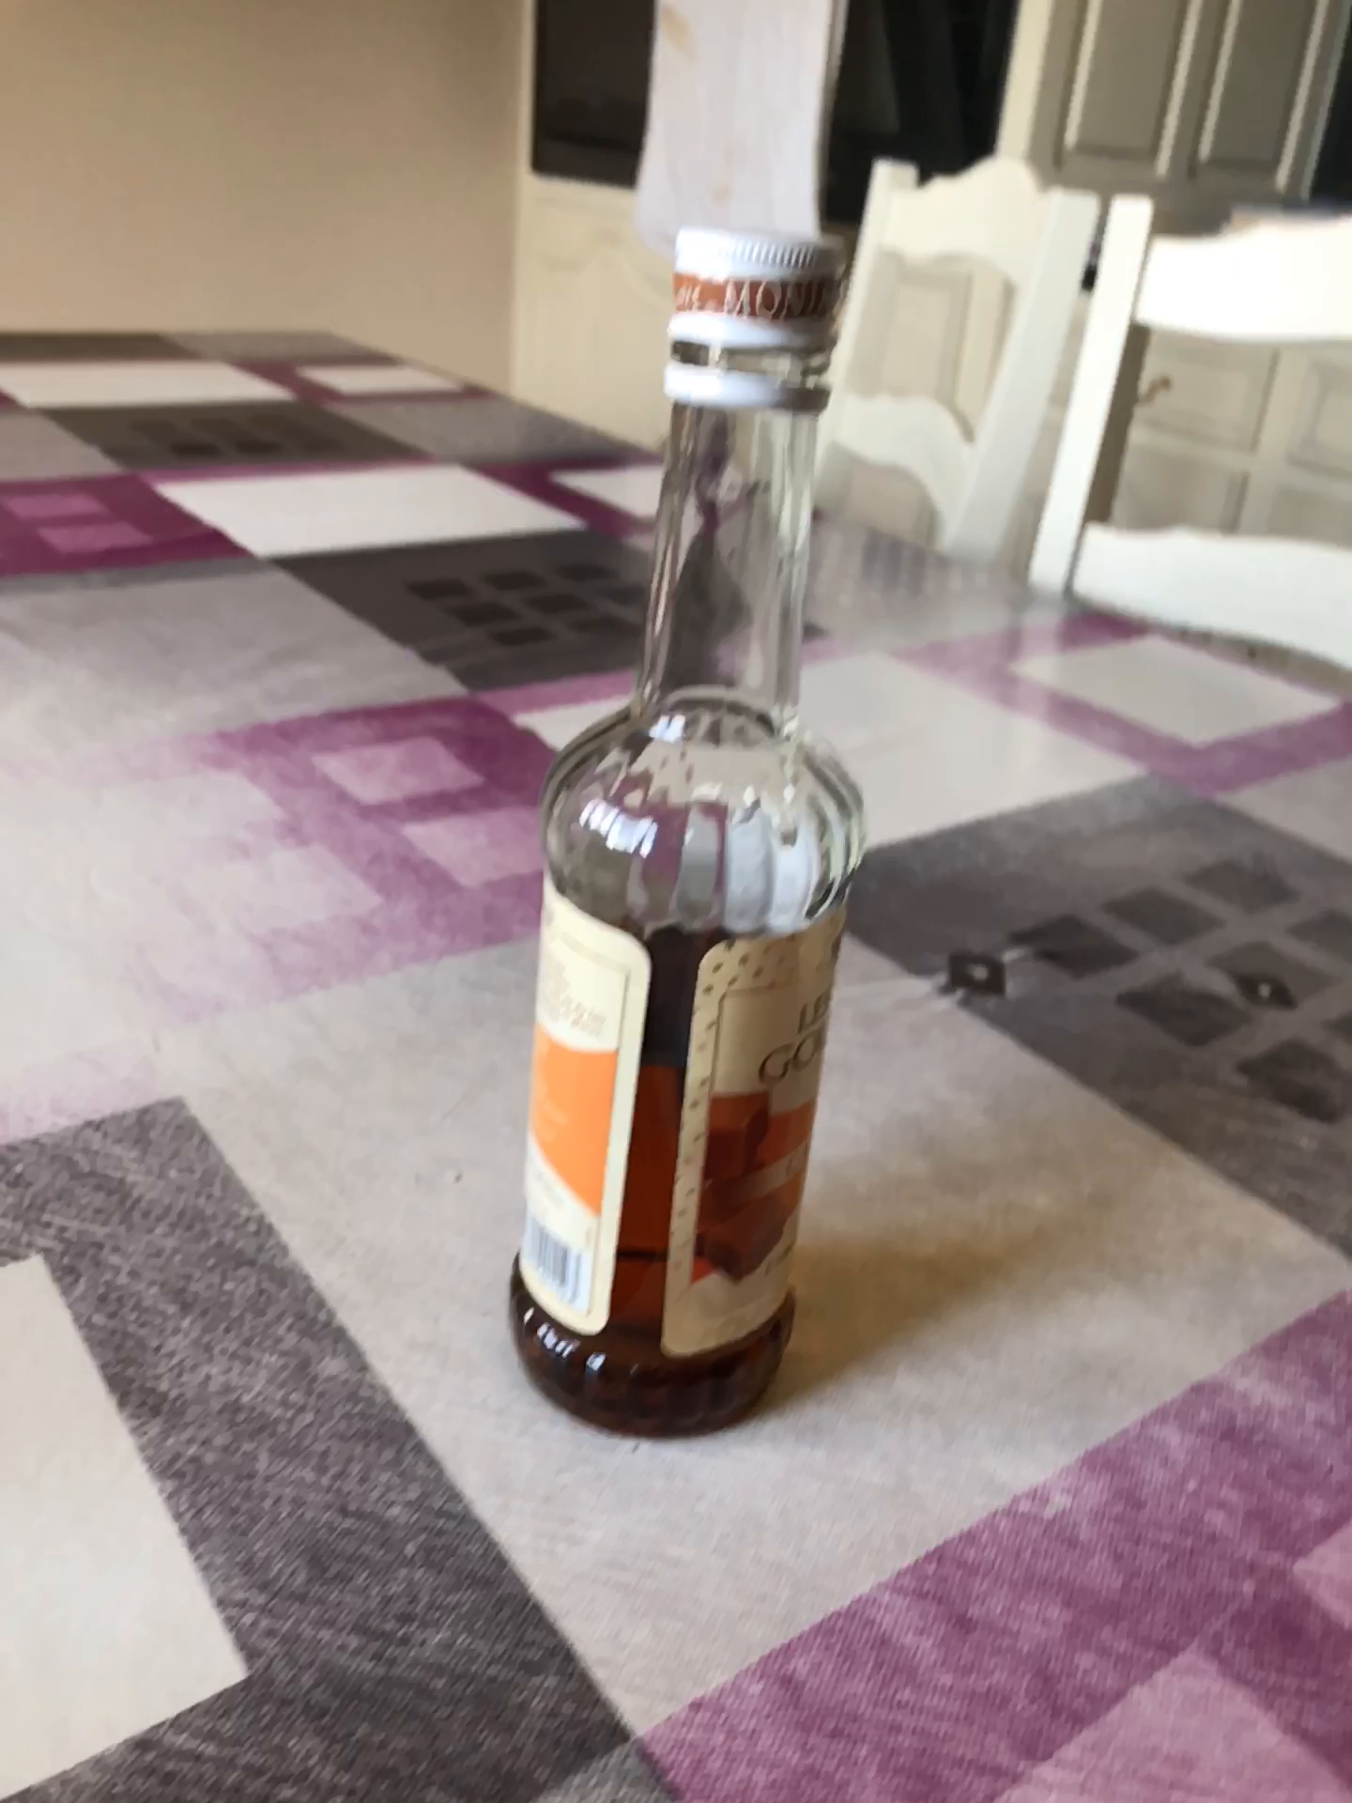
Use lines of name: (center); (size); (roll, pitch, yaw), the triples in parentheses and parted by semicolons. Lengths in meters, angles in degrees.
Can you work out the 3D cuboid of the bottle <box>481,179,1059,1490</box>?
bottle: (0.004, -0.004, 0.292); (0.070, 0.239, 0.070); (4, 27, -2)
